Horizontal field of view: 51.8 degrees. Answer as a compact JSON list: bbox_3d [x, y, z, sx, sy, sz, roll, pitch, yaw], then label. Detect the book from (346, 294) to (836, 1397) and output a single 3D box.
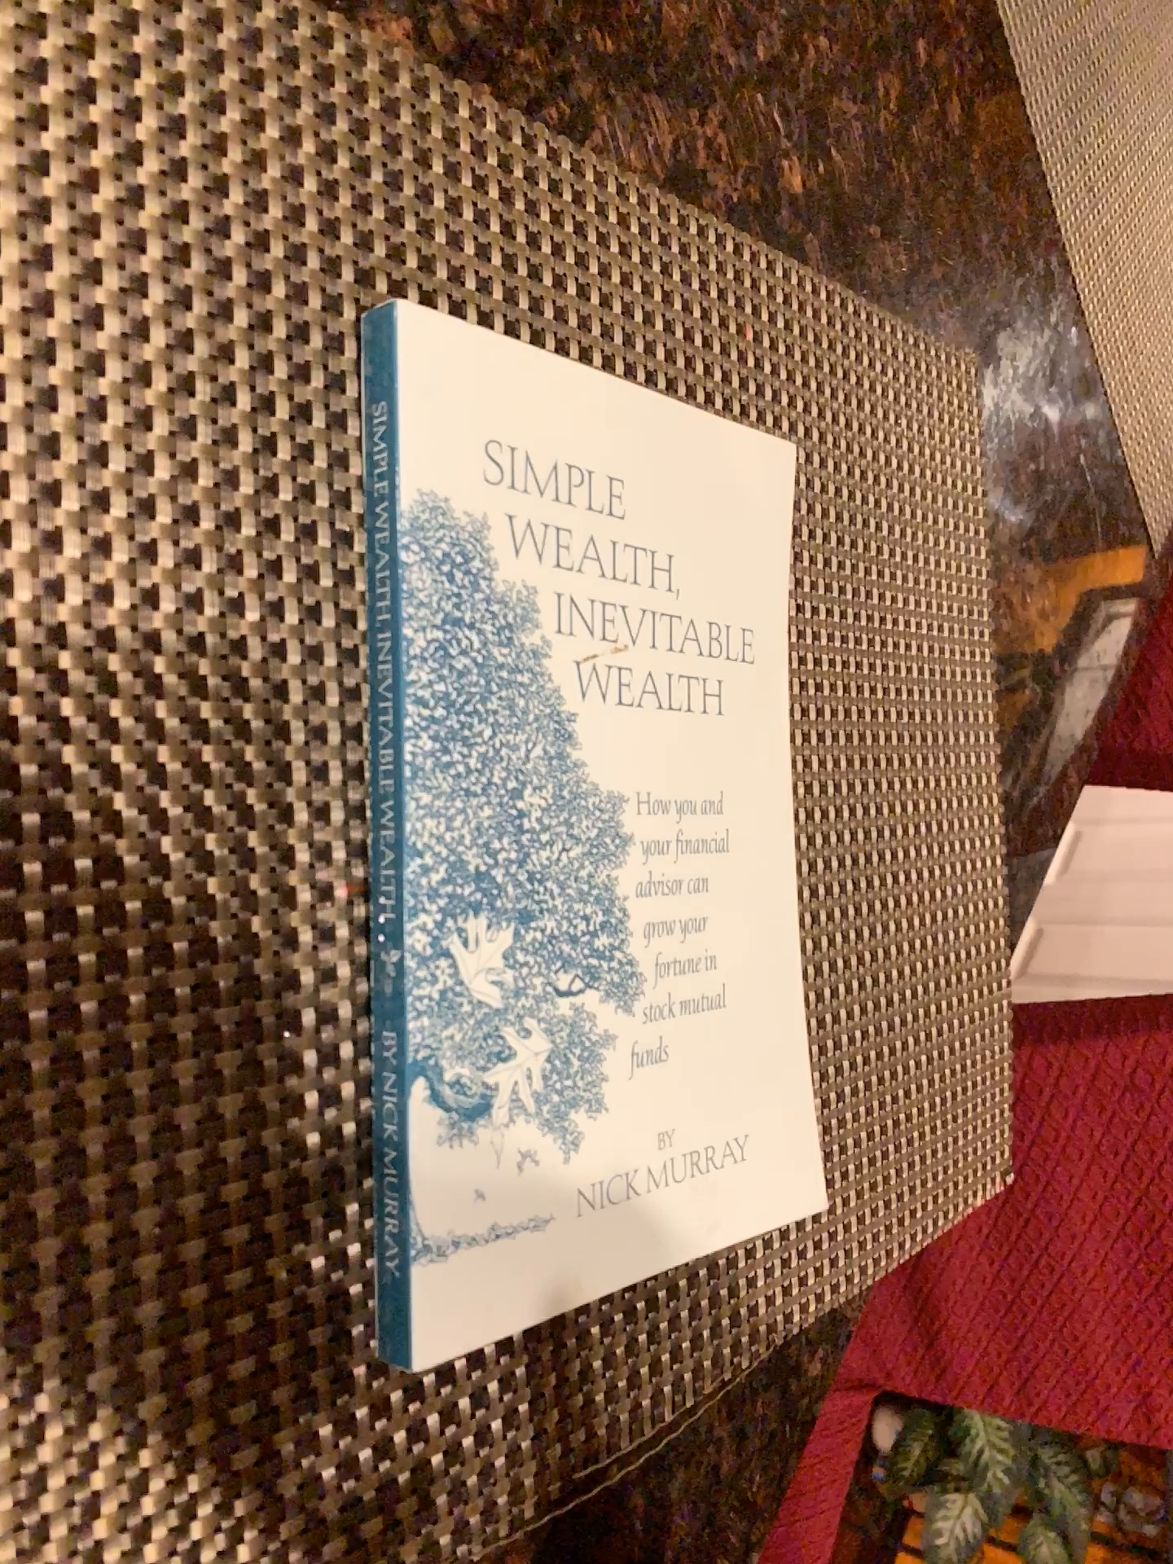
[{"bbox_3d":[0.009,0.012,0.287,0.141,0.021,0.210,0,89,-45],"label":"book"}]
